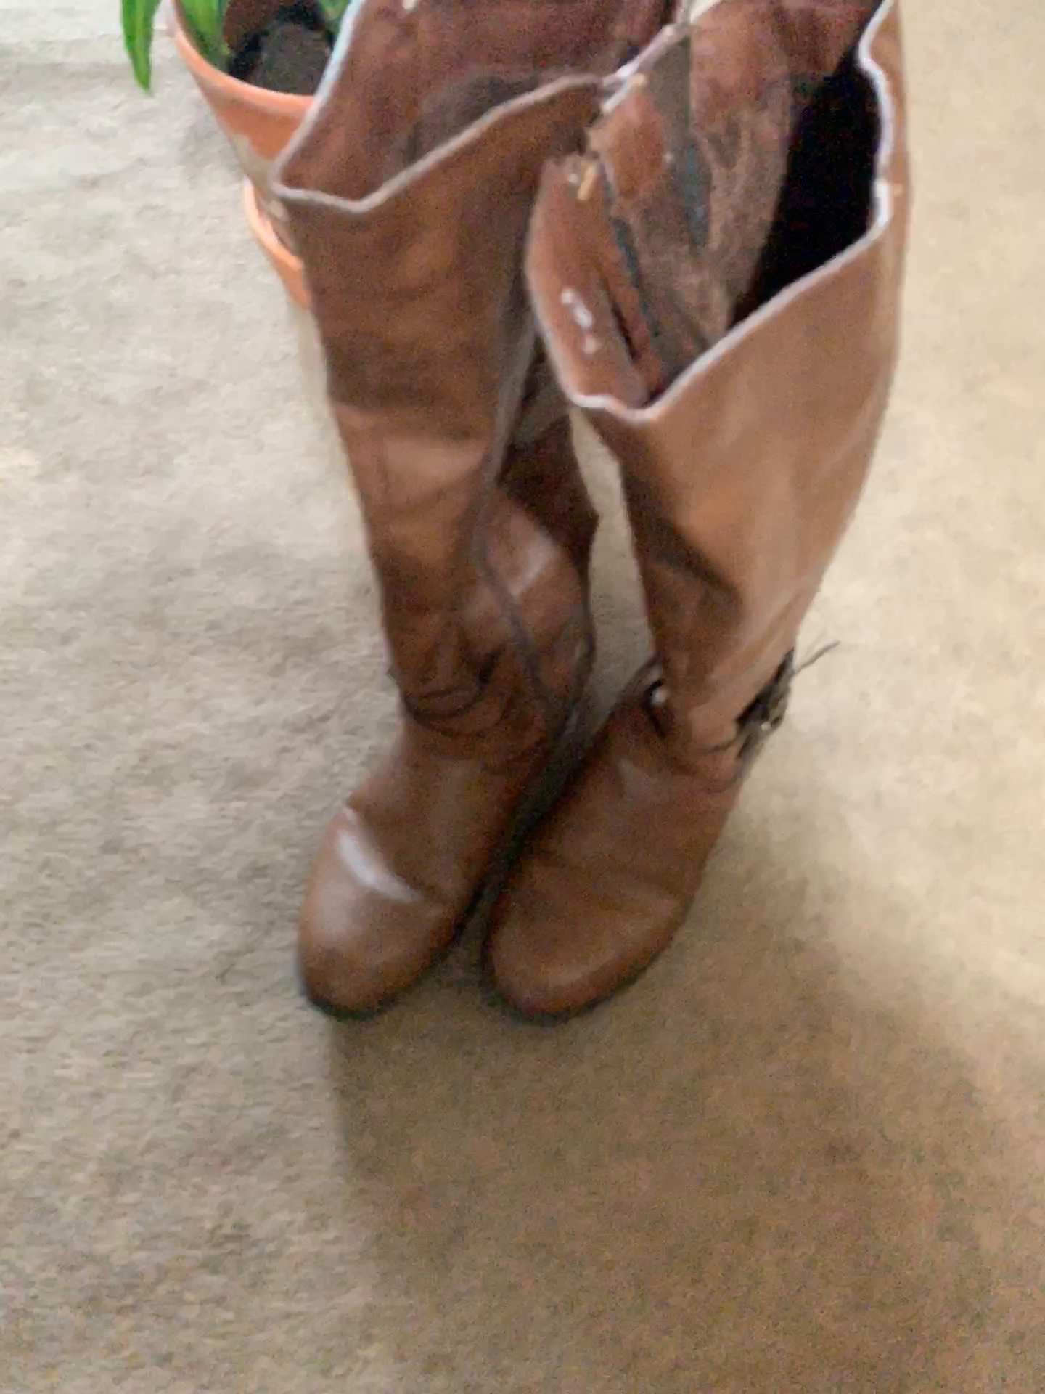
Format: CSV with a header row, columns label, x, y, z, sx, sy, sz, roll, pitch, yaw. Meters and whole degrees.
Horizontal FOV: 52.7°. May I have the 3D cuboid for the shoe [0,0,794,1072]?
label,x,y,z,sx,sy,sz,roll,pitch,yaw
shoe,-0.039,-0.024,0.394,0.110,0.368,0.261,26,69,12

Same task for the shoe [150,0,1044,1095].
label,x,y,z,sx,sy,sz,roll,pitch,yaw
shoe,0.062,-0.014,0.409,0.120,0.398,0.271,33,71,15
